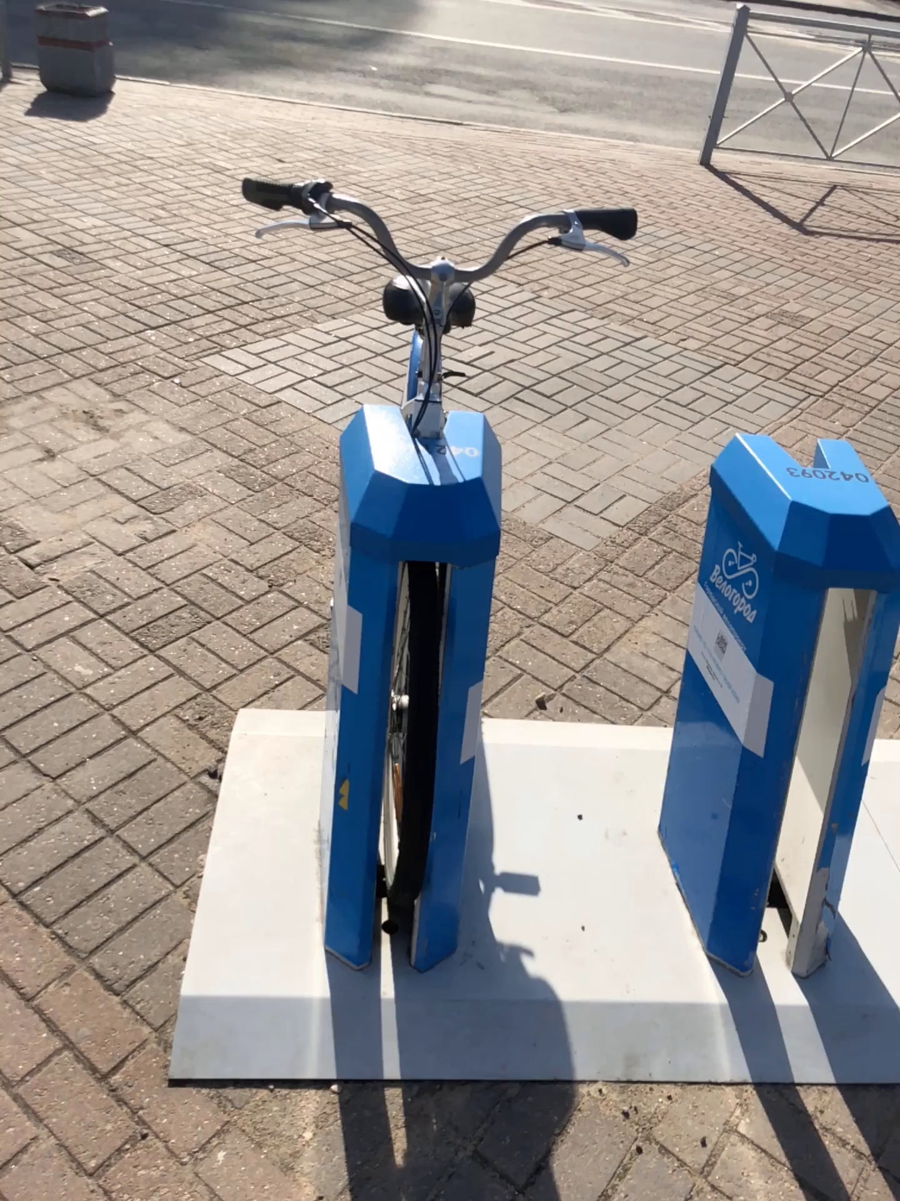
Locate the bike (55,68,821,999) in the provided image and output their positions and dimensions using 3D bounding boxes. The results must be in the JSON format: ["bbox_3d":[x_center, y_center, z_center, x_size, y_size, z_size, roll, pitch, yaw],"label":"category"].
[{"bbox_3d":[-0.090,-0.296,1.948,0.681,1.233,1.684,5,32,-4],"label":"bike"}]
